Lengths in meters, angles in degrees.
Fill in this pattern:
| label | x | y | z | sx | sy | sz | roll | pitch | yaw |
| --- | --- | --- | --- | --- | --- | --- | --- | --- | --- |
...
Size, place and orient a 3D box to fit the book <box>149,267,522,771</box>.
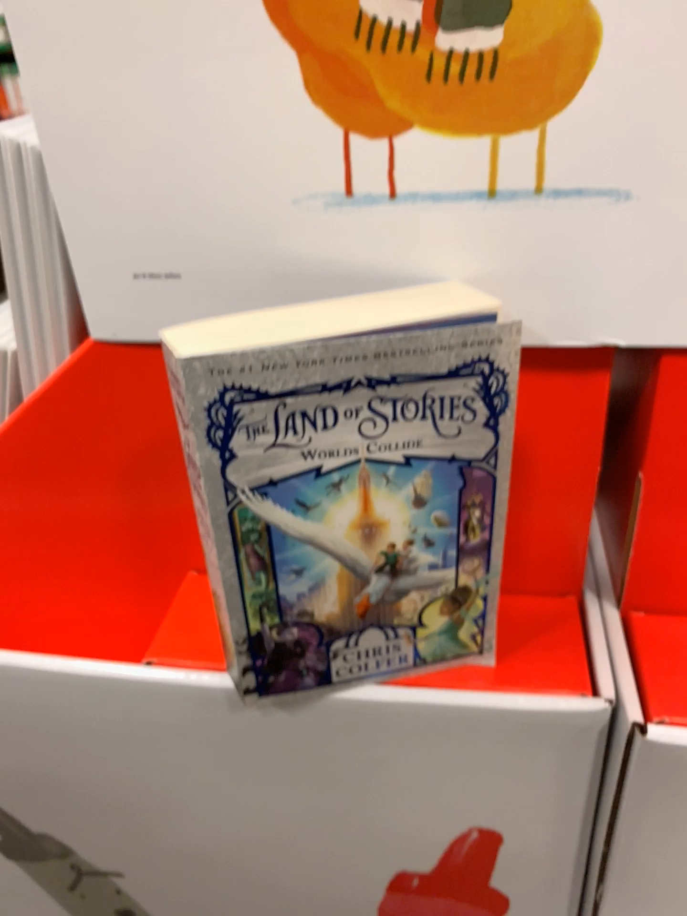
| label | x | y | z | sx | sy | sz | roll | pitch | yaw |
| --- | --- | --- | --- | --- | --- | --- | --- | --- | --- |
| book | 0.003 | 0.029 | 0.325 | 0.130 | 0.193 | 0.065 | -15 | 32 | -16 |
